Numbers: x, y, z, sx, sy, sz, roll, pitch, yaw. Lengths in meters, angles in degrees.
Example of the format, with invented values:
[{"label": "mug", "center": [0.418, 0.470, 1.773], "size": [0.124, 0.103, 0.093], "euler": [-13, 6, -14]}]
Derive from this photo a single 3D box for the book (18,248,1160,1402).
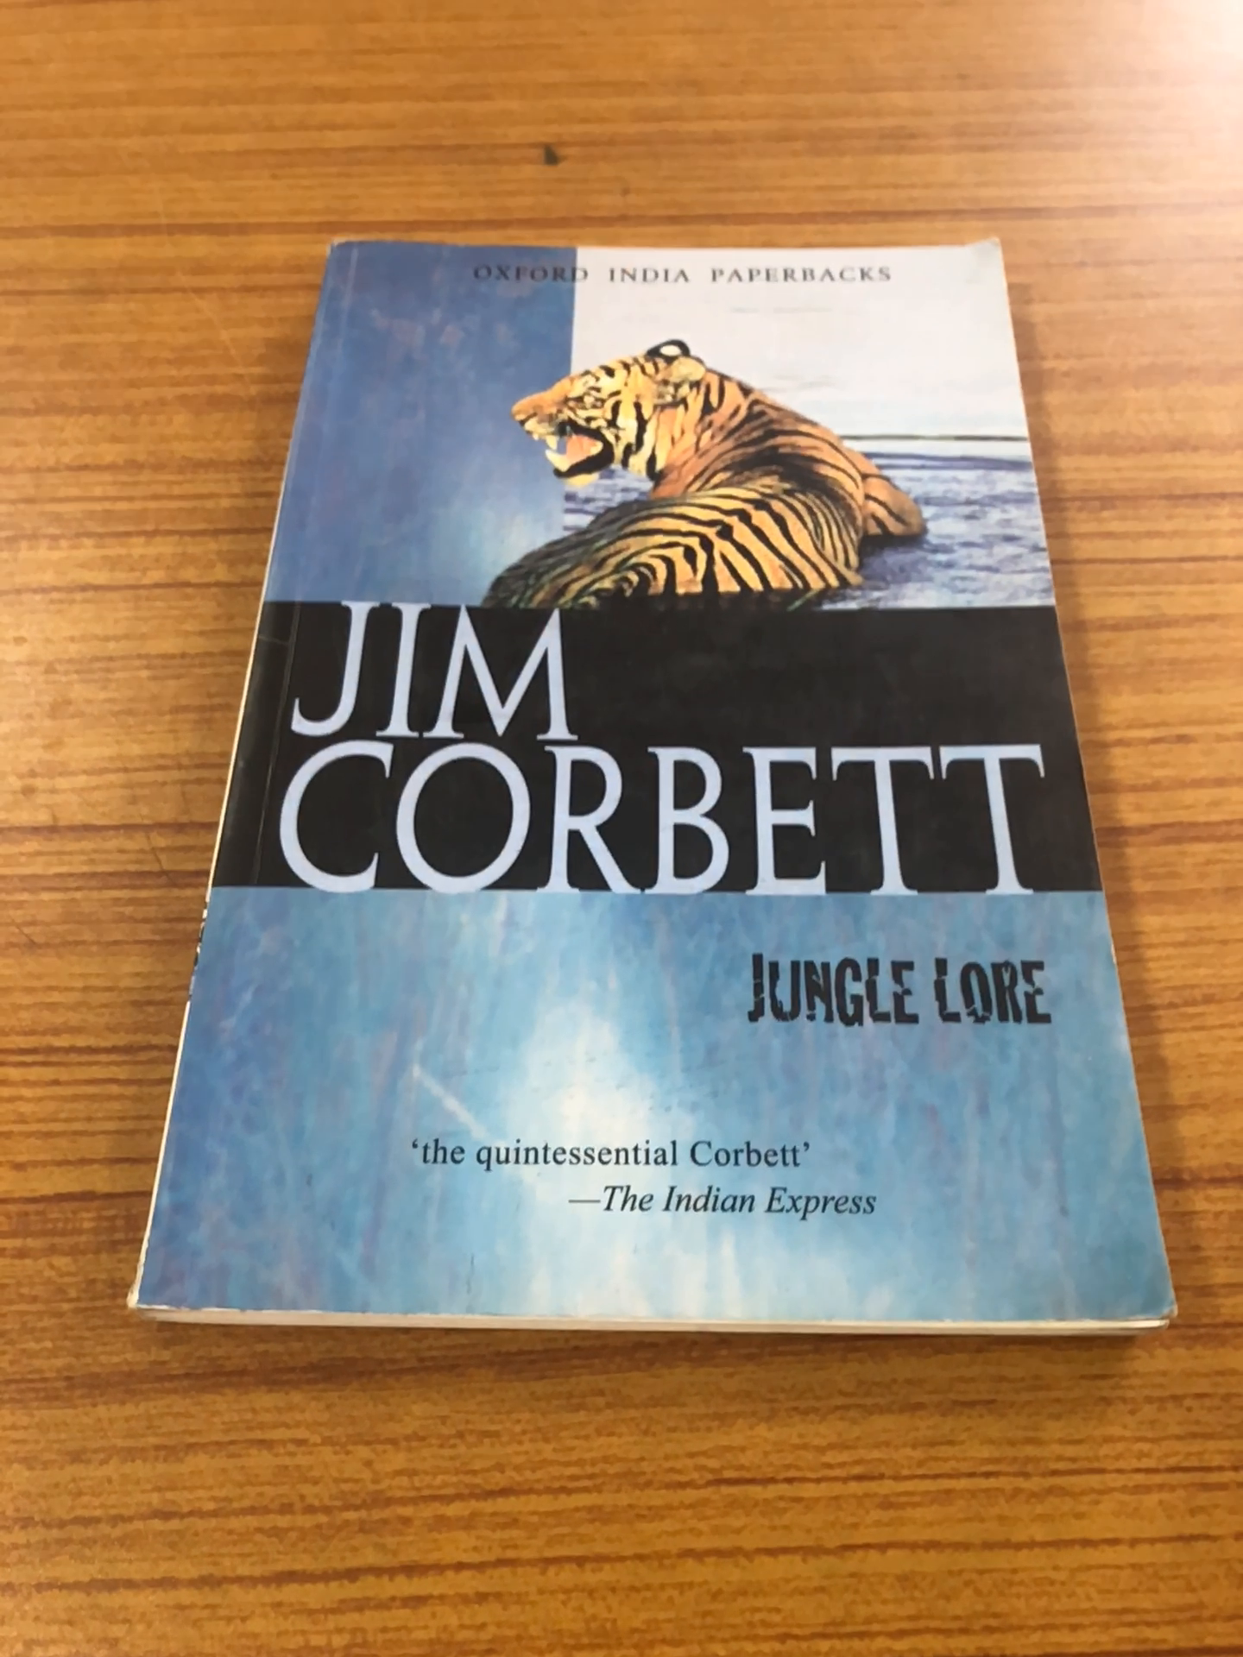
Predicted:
[{"label": "book", "center": [-0.003, -0.021, 0.241], "size": [0.150, 0.010, 0.220], "euler": [0, 61, 1]}]
